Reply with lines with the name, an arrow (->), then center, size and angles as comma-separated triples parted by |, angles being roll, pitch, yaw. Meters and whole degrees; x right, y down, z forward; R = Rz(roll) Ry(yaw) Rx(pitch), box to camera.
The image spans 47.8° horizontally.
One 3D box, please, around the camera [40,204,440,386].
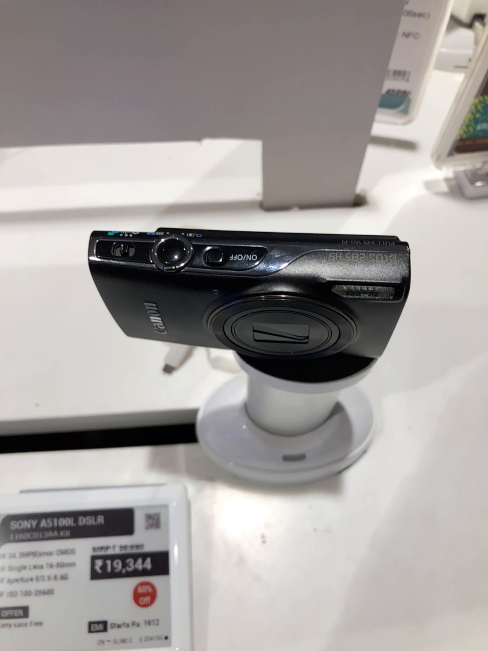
camera -> -0.001, -0.007, 0.185 | 0.110, 0.060, 0.030 | 3, 63, 1
